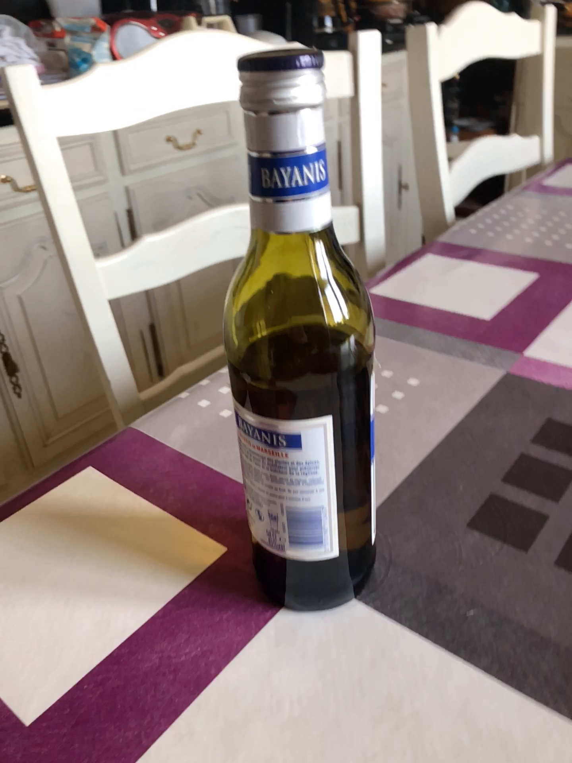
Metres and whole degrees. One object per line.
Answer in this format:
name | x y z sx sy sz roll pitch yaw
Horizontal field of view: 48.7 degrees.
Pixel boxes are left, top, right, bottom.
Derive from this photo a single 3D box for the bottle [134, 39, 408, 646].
bottle | 0.006 -0.006 0.290 0.070 0.258 0.070 -4 30 2
